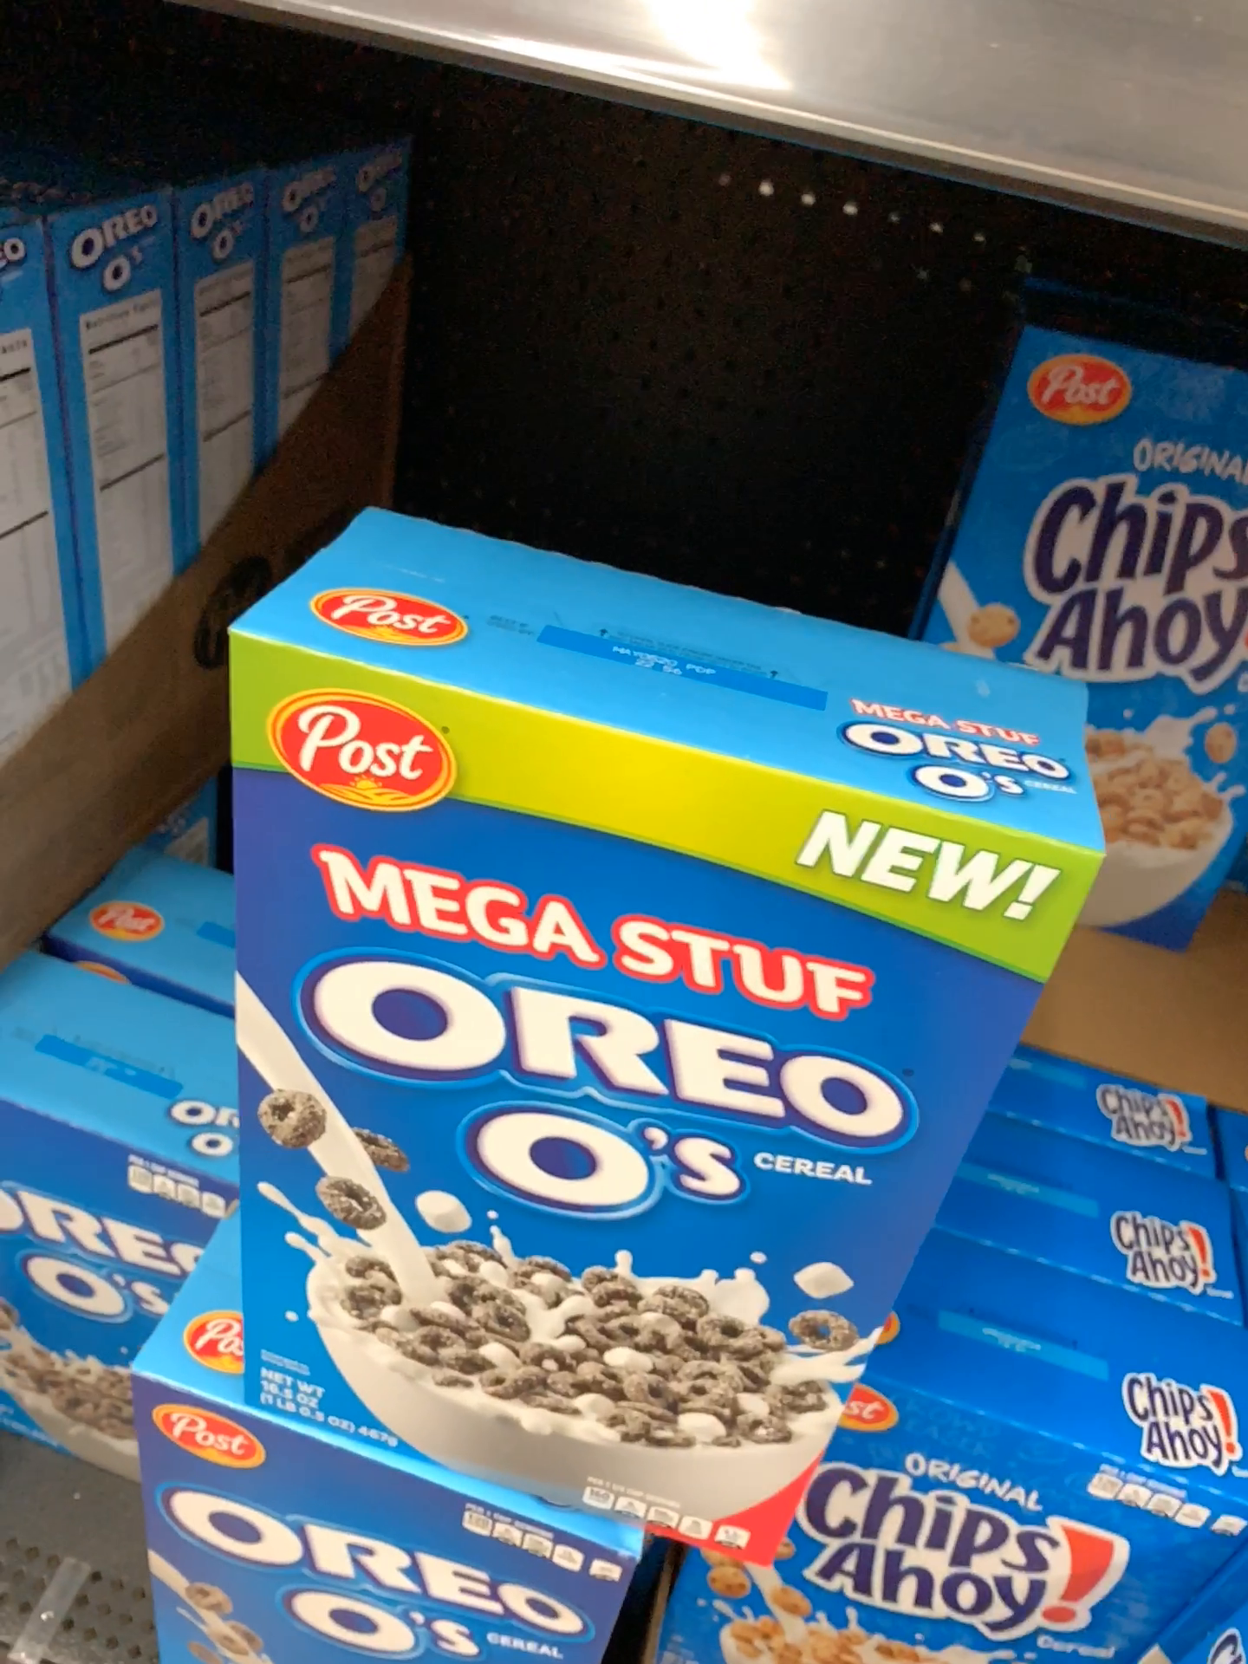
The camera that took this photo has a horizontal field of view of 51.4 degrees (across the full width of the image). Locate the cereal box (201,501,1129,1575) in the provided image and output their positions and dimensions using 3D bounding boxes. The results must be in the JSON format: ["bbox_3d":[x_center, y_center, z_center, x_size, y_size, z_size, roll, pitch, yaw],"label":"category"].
[{"bbox_3d":[-0.011,0.079,0.387,0.200,0.299,0.080,14,34,4],"label":"cereal box"}]
